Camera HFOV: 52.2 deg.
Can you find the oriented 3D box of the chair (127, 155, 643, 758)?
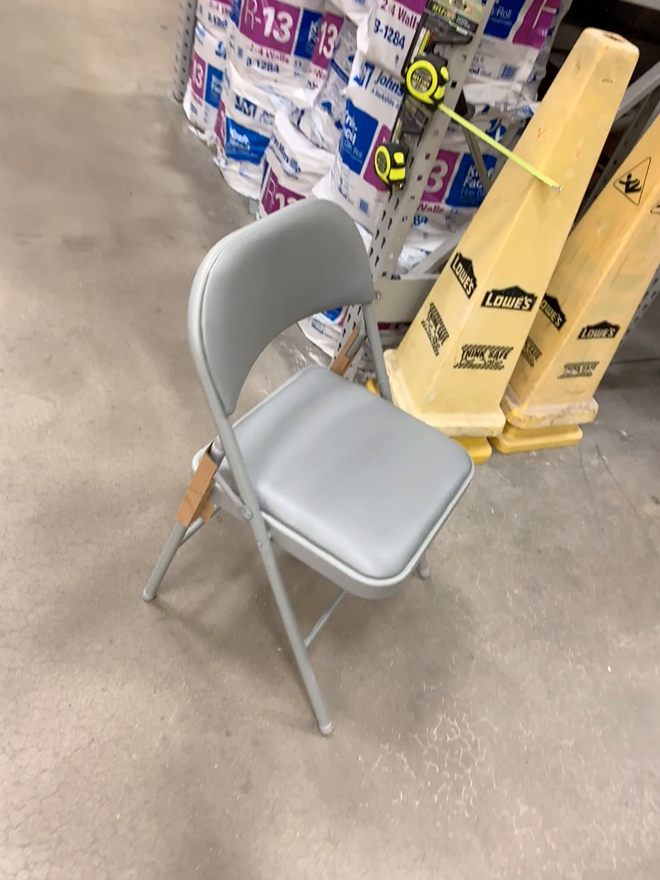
[{"bbox_3d":[0.040,0.036,1.104,0.484,0.709,0.489,33,45,13],"label":"chair"}]
